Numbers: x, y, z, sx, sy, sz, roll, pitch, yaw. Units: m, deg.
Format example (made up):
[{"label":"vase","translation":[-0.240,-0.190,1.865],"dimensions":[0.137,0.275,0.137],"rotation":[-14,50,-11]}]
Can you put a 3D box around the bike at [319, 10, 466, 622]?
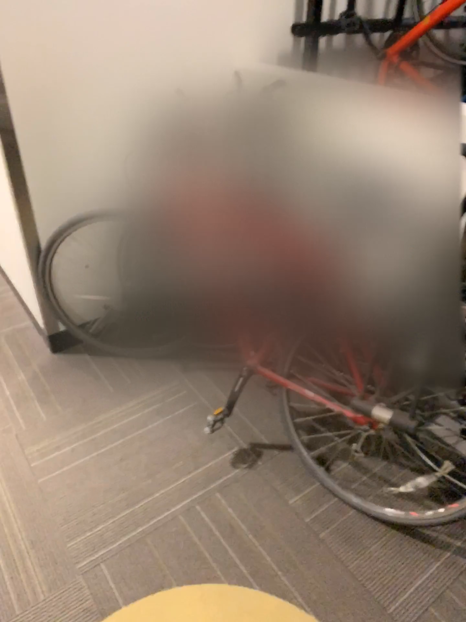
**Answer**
[{"label":"bike","translation":[0.772,0.052,1.265],"dimensions":[0.728,1.148,0.694],"rotation":[25,40,23]}]

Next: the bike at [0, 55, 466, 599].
[{"label":"bike","translation":[0.049,-0.084,1.469],"dimensions":[1.615,0.927,0.604],"rotation":[23,40,23]}]
